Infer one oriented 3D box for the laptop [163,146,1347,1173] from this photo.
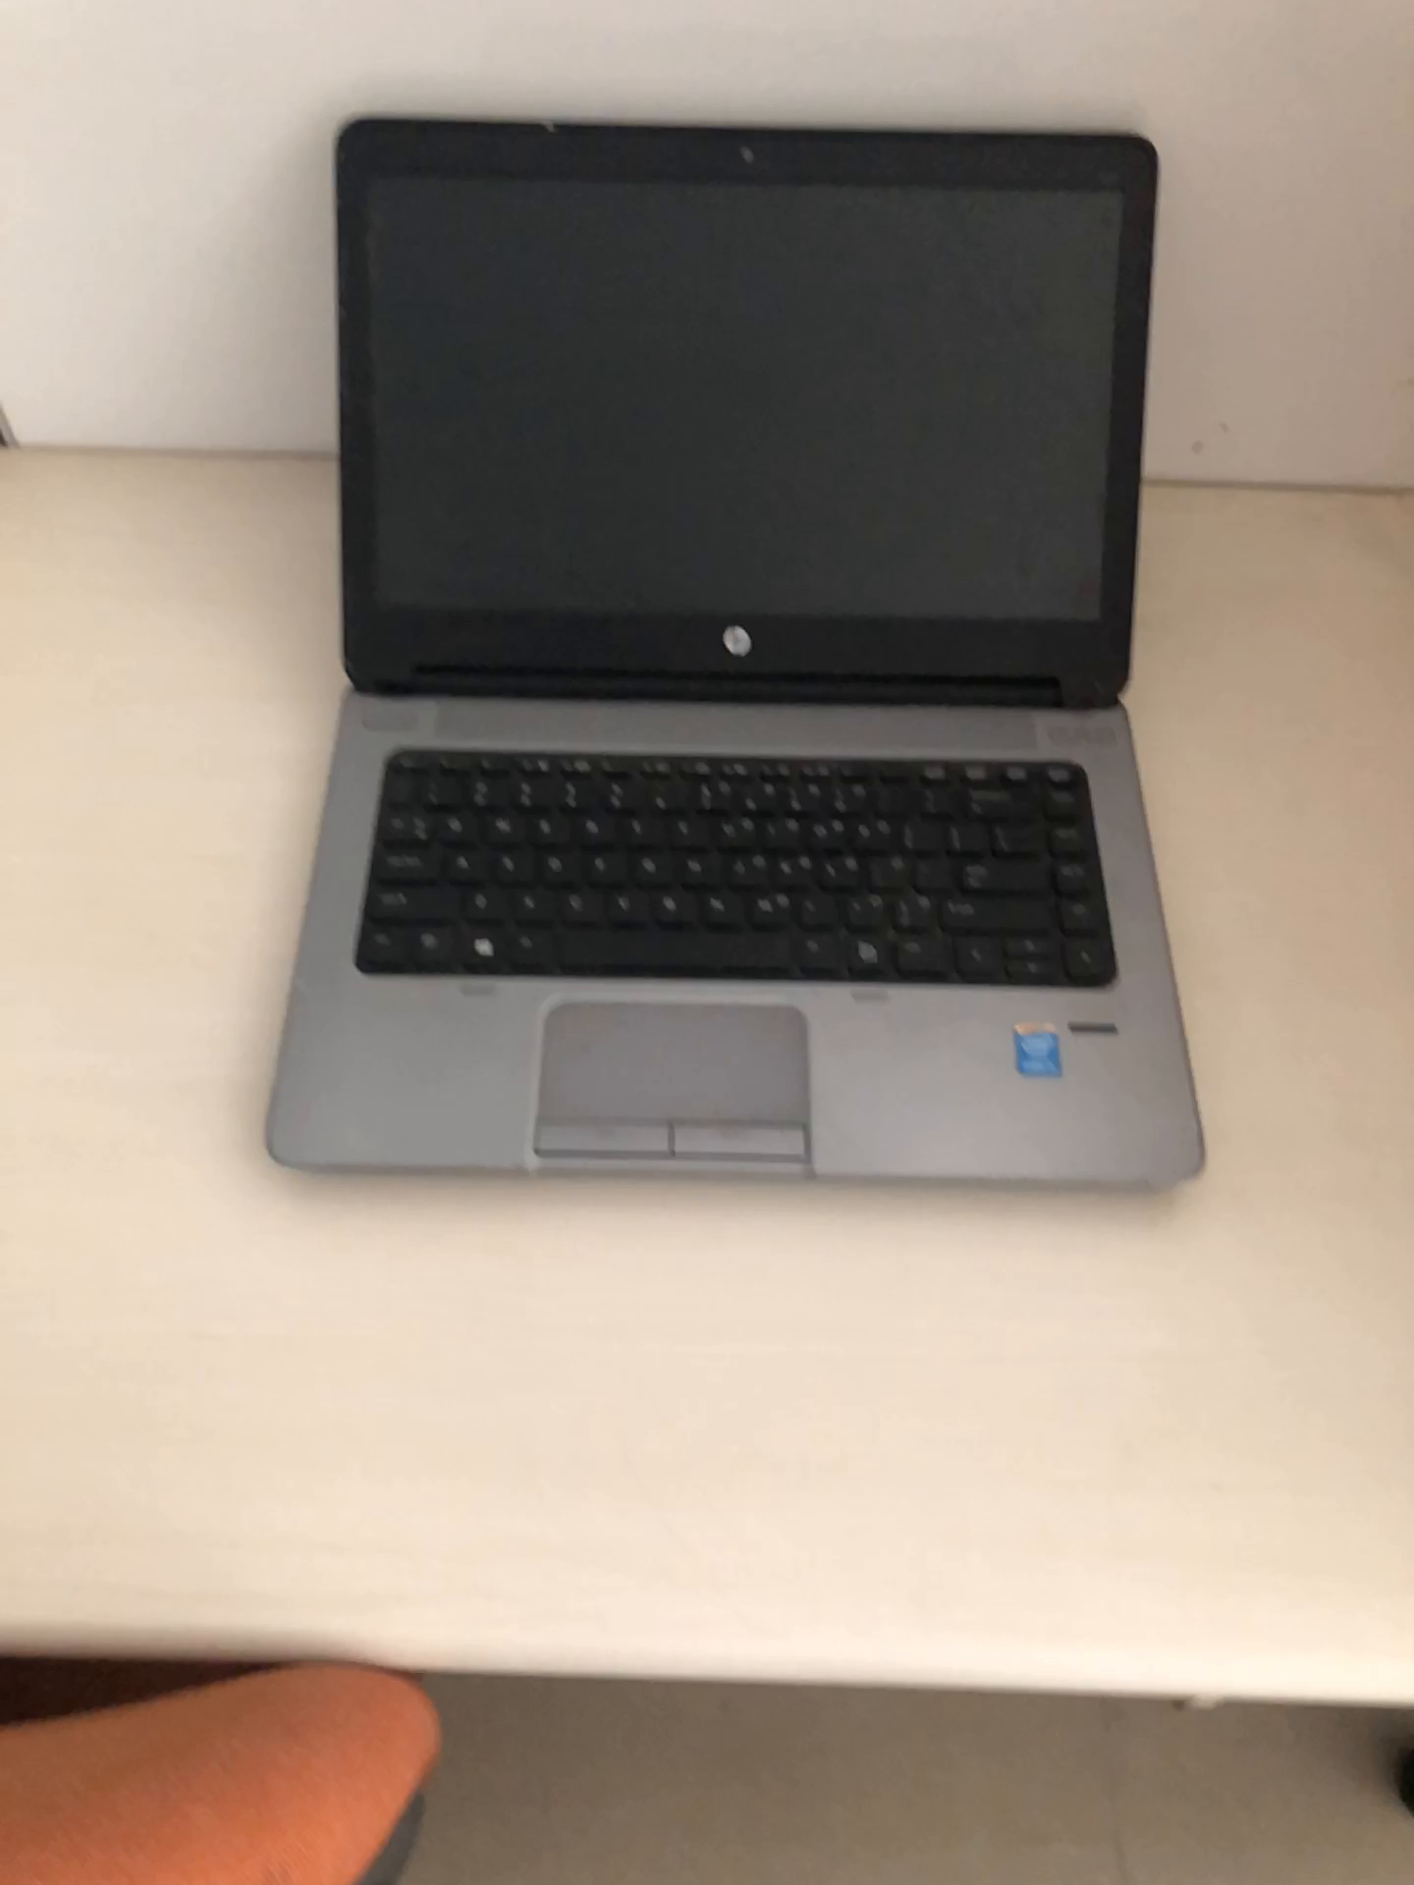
[{"bbox_3d":[0.014,-0.122,0.589,0.322,0.148,0.379,1,56,0],"label":"laptop"}]
